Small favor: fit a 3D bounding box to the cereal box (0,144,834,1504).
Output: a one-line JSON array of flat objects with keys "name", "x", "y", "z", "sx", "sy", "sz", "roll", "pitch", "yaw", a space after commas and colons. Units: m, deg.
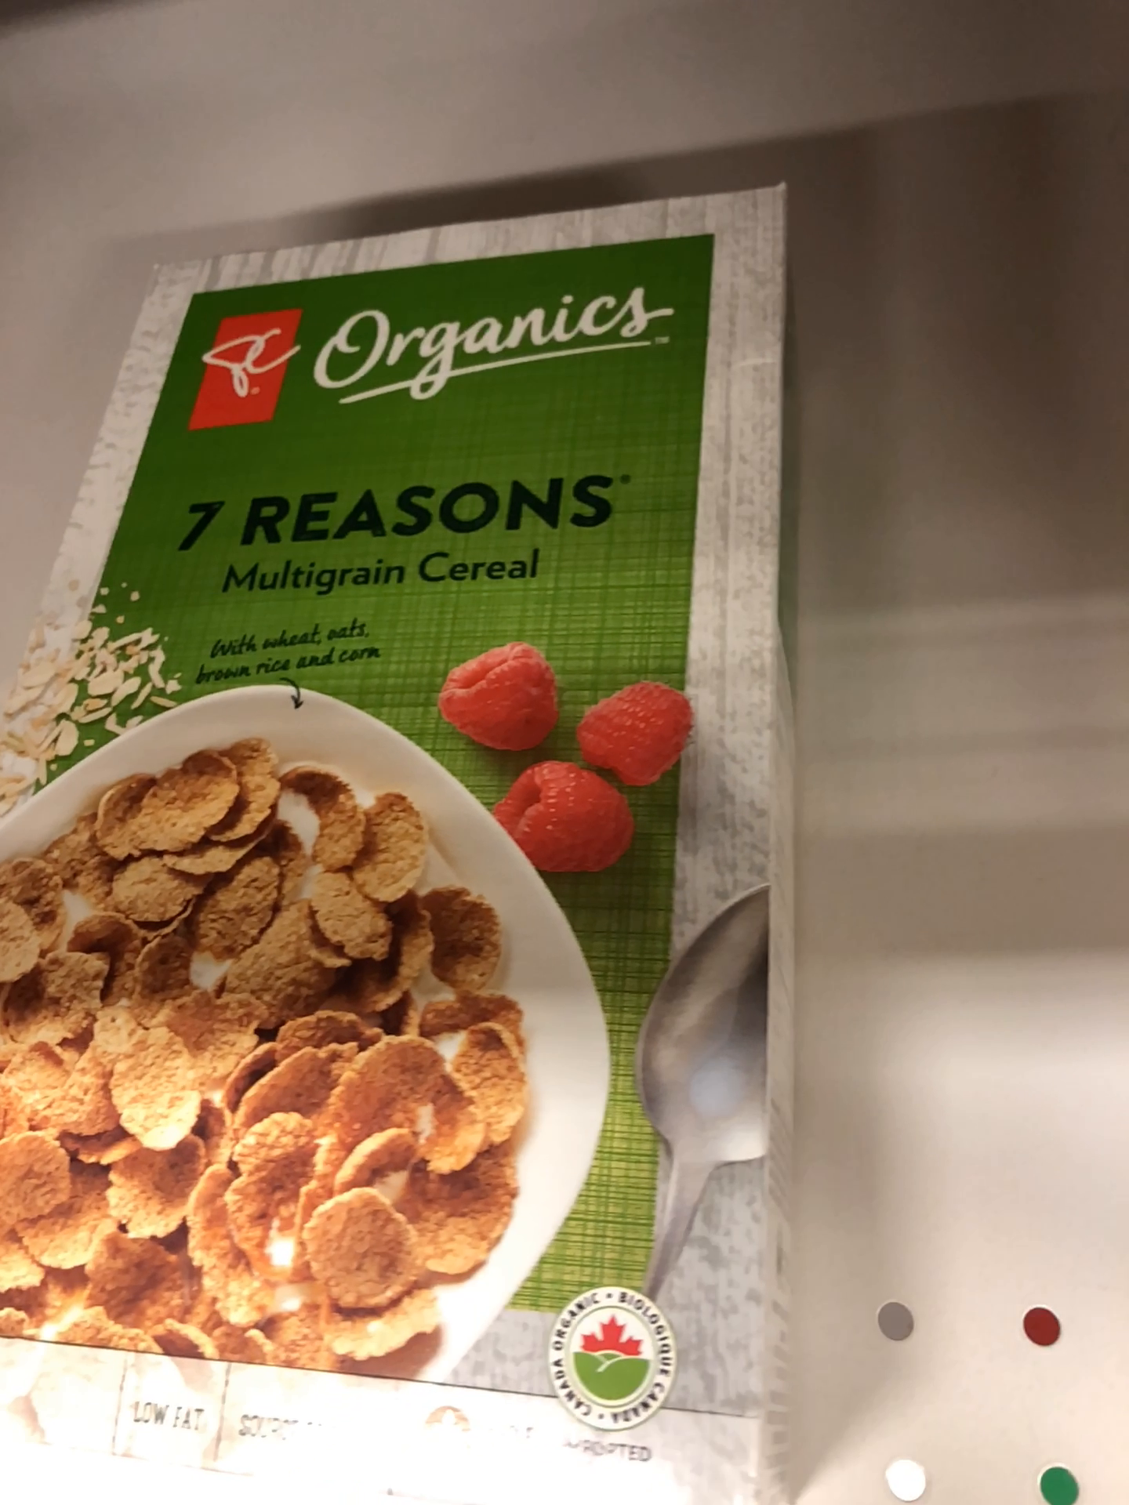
[{"name": "cereal box", "x": -0.041, "y": 0.001, "z": 0.254, "sx": 0.180, "sy": 0.060, "sz": 0.260, "roll": 0, "pitch": 62, "yaw": 14}]
